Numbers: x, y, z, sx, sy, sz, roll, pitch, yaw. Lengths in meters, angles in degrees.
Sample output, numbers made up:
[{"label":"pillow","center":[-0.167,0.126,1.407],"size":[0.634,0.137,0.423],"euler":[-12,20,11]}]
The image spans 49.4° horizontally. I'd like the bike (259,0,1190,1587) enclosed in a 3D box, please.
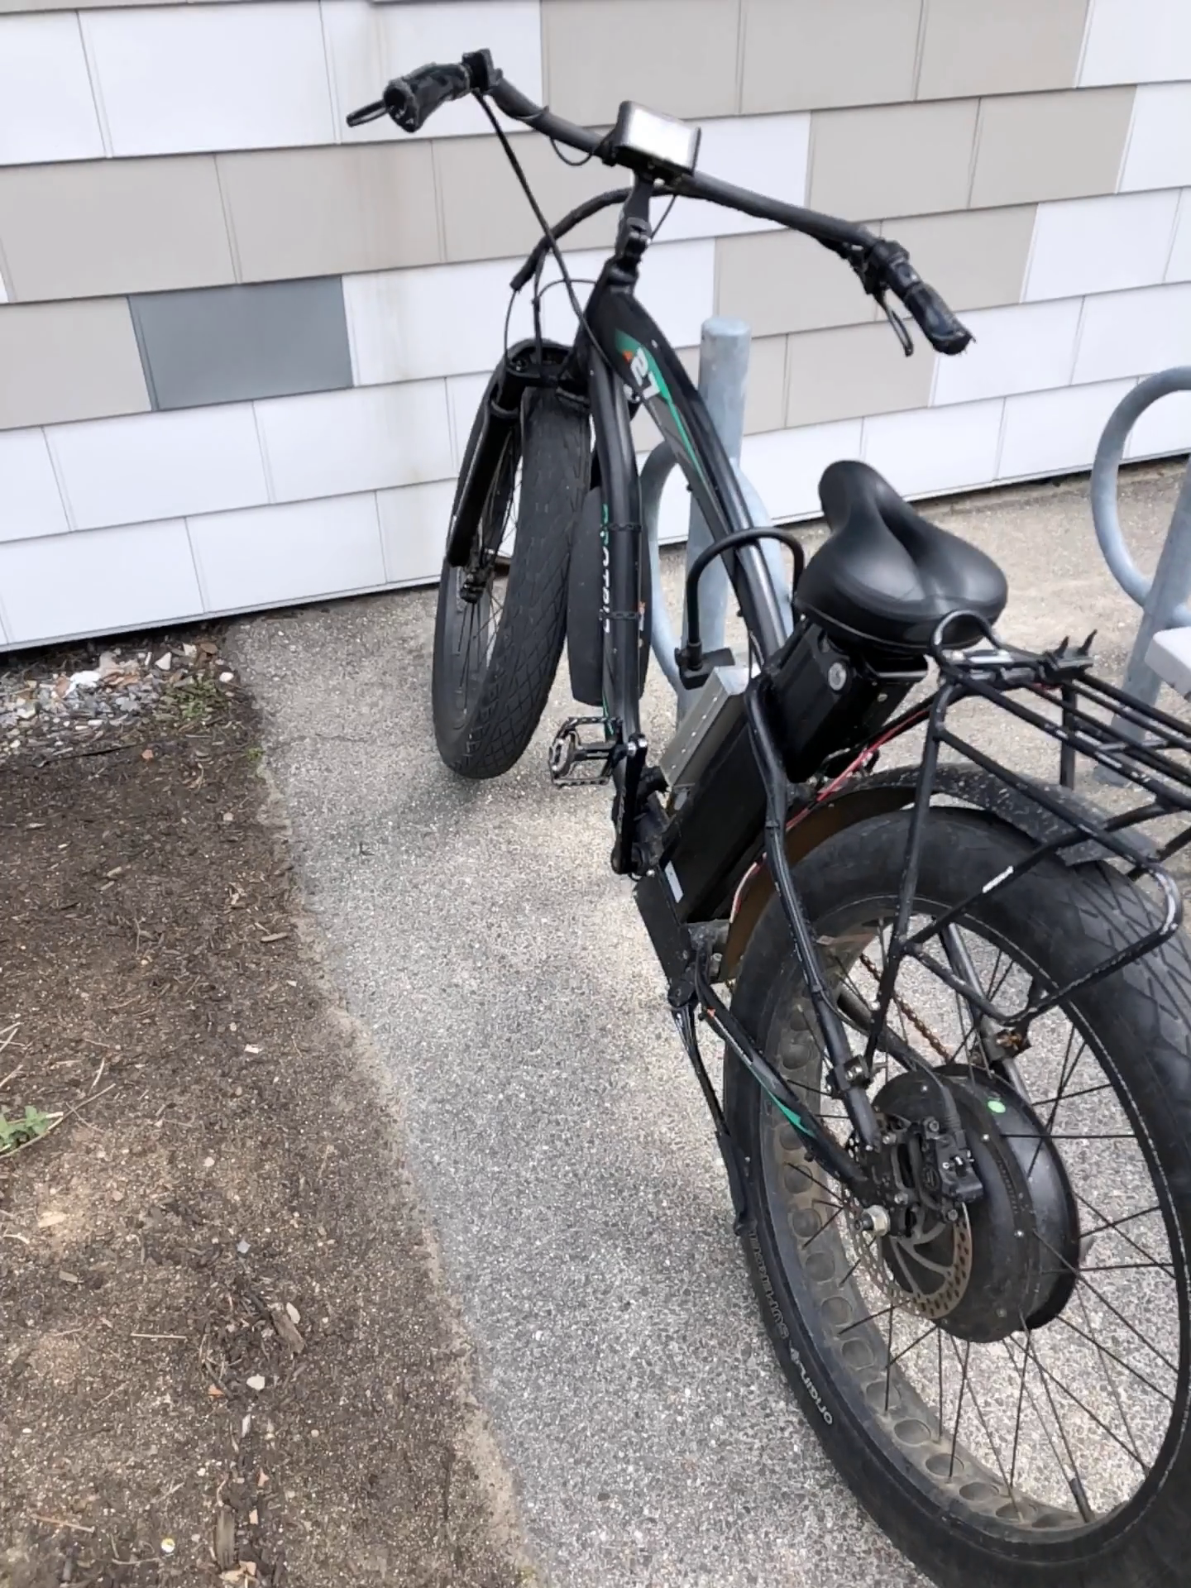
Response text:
[{"label":"bike","center":[0.250,-0.271,1.674],"size":[0.878,1.170,2.123],"euler":[-12,42,-15]}]
